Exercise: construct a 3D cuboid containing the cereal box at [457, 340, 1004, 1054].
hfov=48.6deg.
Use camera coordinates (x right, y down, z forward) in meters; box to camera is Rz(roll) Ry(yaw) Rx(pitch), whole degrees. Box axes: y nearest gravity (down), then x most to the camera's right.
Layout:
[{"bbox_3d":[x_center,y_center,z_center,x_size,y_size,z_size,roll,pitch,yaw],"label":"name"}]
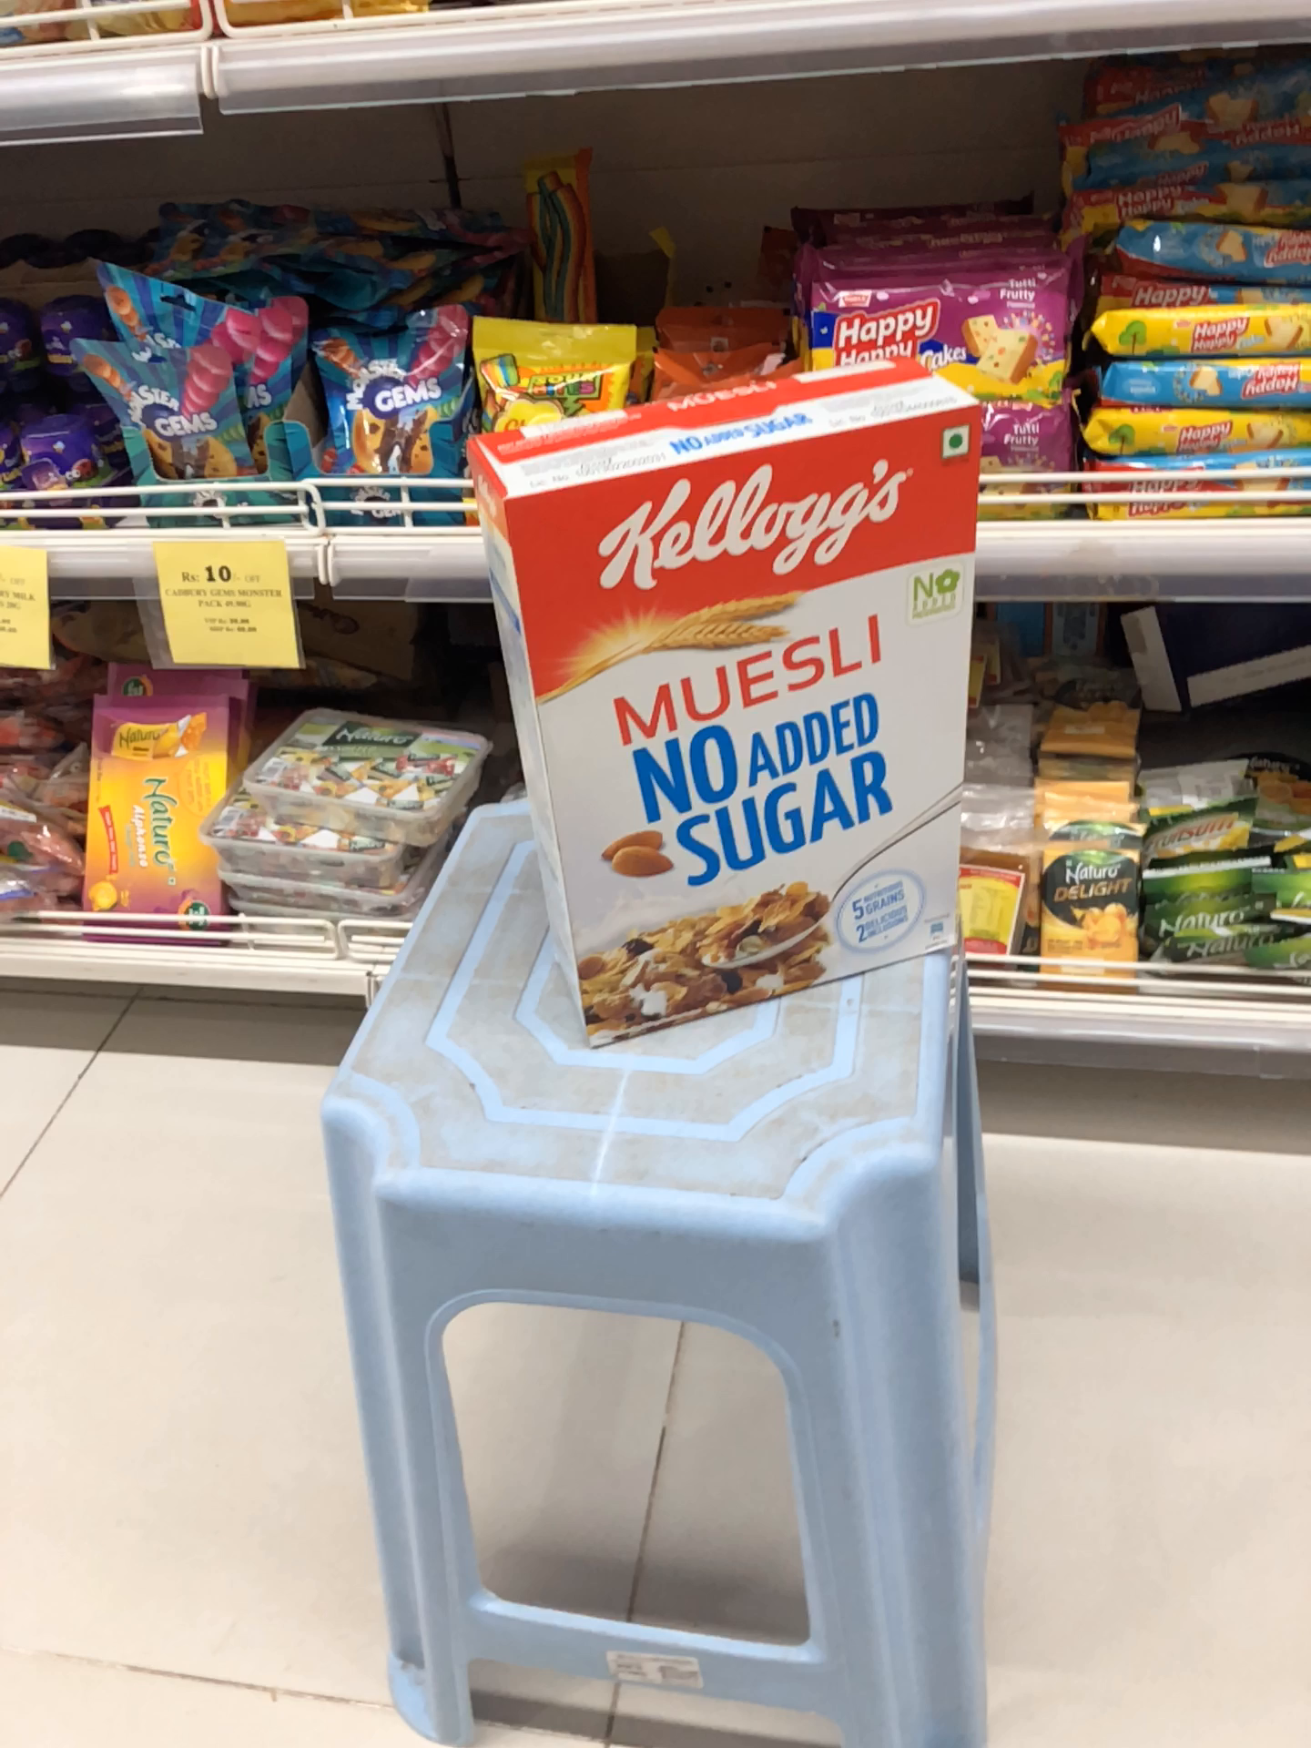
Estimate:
[{"bbox_3d":[0.038,-0.068,0.613,0.190,0.259,0.070,-15,37,-12],"label":"cereal box"}]
